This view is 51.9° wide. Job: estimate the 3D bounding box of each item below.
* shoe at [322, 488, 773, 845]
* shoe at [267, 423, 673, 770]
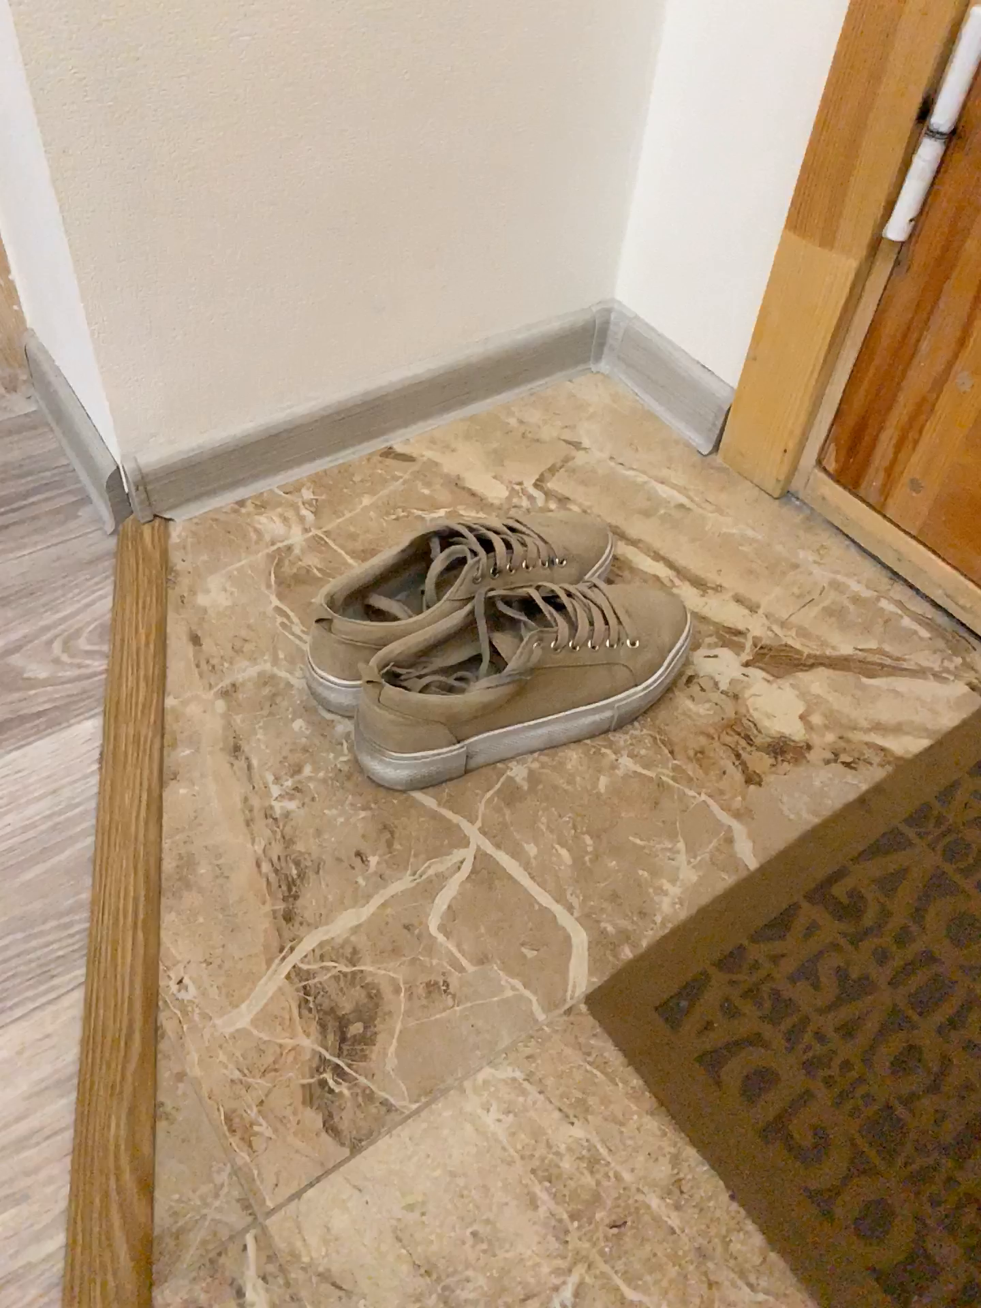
[{"bbox_3d":[0.033,0.001,0.593,0.240,0.099,0.090,-22,54,-23],"label":"shoe"},{"bbox_3d":[-0.009,-0.044,0.641,0.241,0.099,0.090,-29,57,-28],"label":"shoe"}]
